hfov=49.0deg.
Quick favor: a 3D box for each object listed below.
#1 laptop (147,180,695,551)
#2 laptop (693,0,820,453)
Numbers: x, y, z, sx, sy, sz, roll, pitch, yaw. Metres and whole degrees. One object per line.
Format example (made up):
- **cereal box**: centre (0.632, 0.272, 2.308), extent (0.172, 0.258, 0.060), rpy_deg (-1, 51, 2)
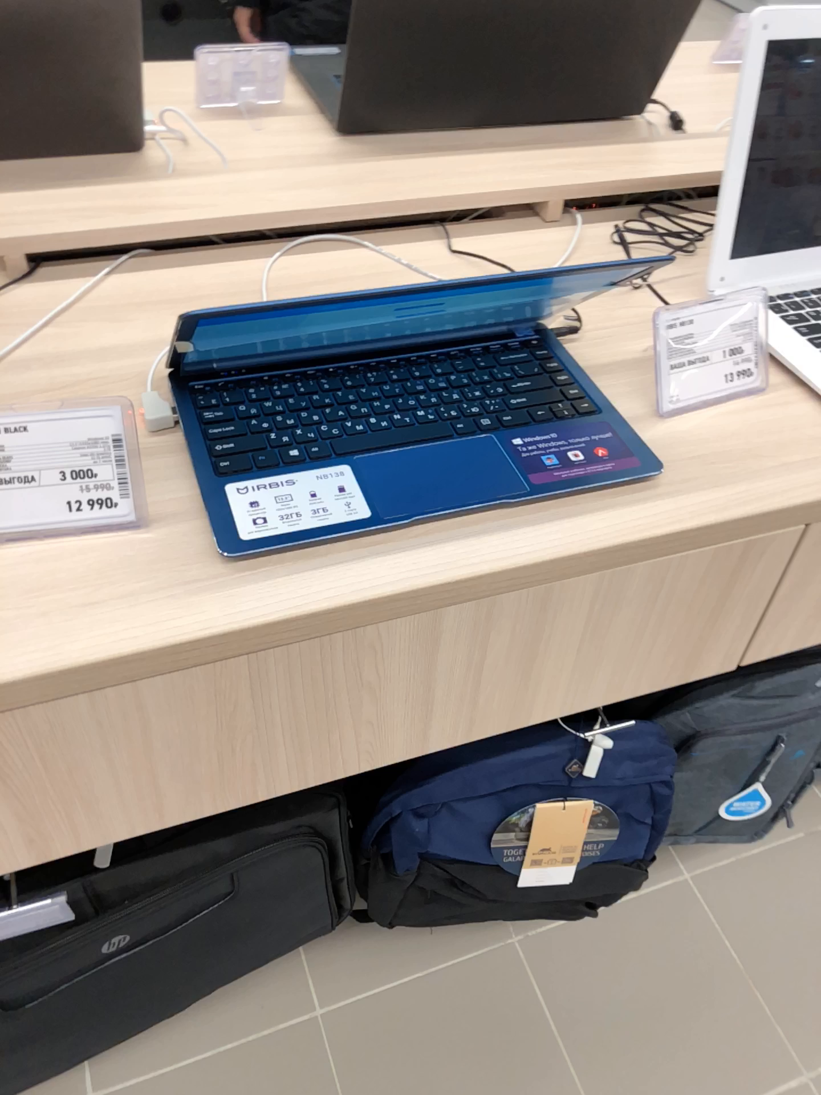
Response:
- **laptop**: centre (-0.002, -0.138, 0.622), extent (0.308, 0.124, 0.190), rpy_deg (-11, 48, -16)
- **laptop**: centre (0.473, -0.296, 0.755), extent (0.340, 0.212, 0.304), rpy_deg (-12, 47, -15)
